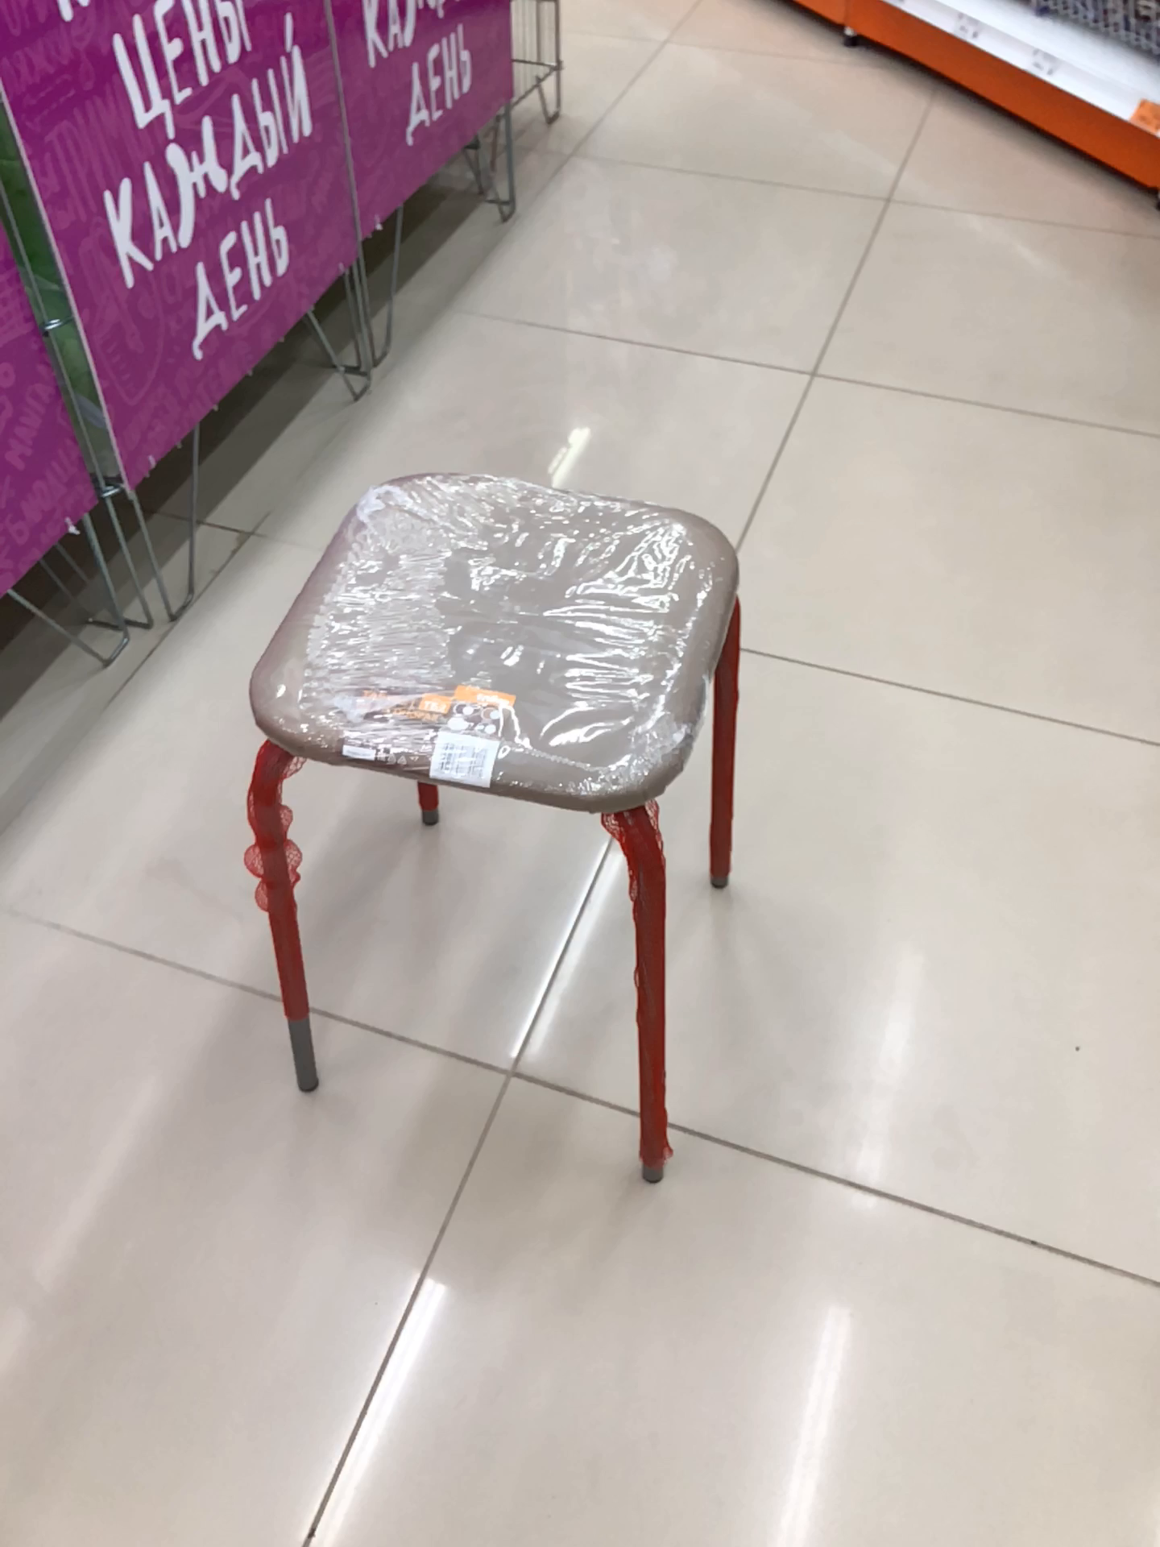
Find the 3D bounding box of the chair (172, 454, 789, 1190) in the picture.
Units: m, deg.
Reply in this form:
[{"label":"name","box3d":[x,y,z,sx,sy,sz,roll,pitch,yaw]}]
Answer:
[{"label":"chair","box3d":[-0.045,0.046,1.018,0.330,0.437,0.332,11,49,10]}]
